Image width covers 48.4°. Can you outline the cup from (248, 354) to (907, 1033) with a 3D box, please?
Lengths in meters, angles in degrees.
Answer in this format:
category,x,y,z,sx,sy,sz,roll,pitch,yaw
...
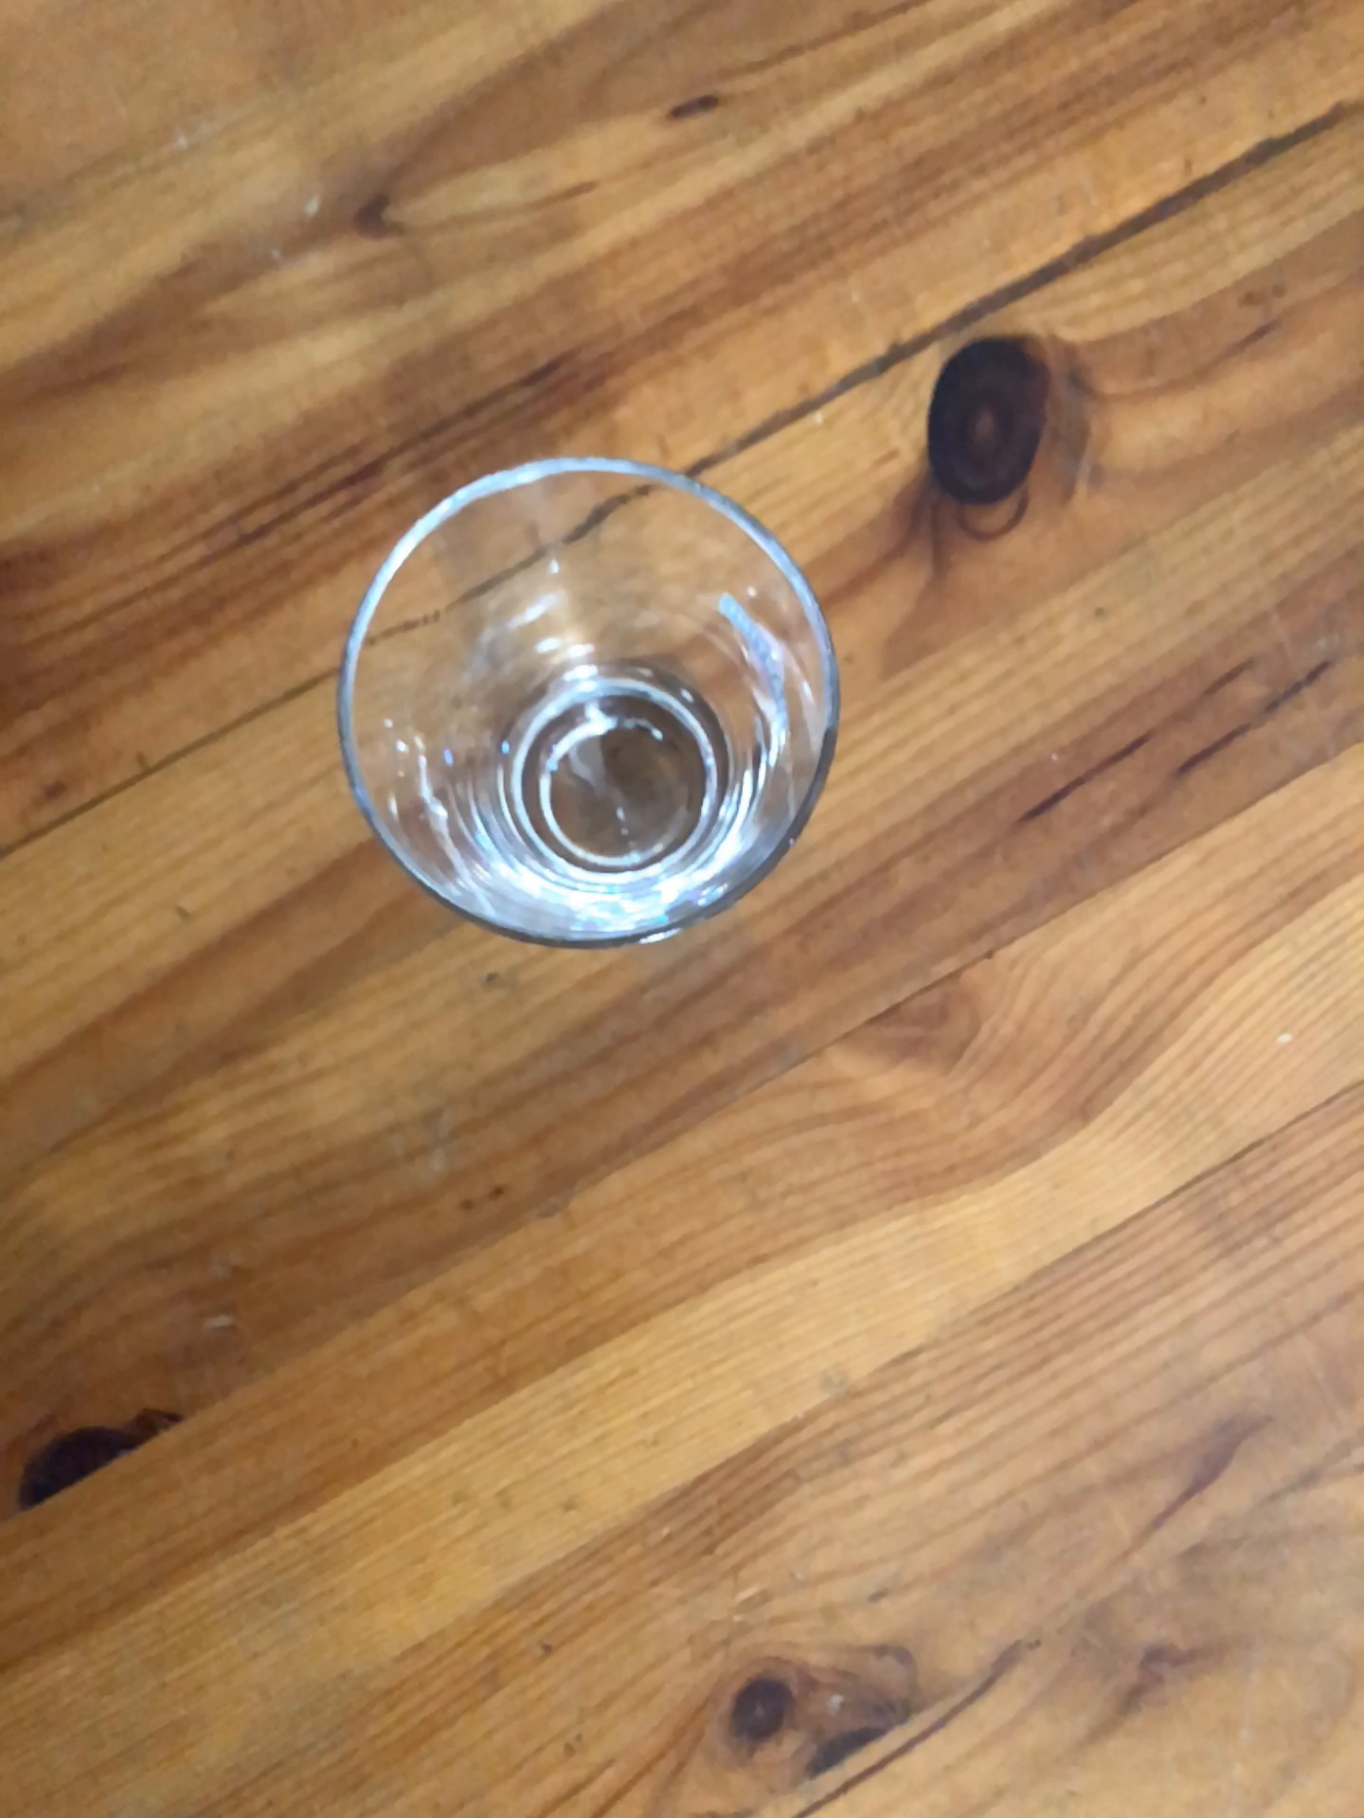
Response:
category,x,y,z,sx,sy,sz,roll,pitch,yaw
cup,-0.020,-0.035,0.312,0.088,0.097,0.091,0,82,-1
